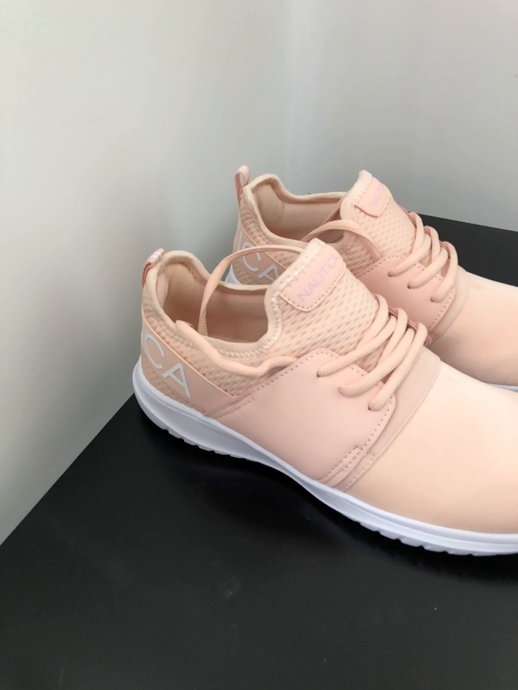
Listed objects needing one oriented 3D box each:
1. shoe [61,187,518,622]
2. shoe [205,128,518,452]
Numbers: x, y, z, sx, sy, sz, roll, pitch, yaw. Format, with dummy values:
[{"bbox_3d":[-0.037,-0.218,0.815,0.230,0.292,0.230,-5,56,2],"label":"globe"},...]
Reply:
[{"bbox_3d":[0.046,0.014,0.284,0.250,0.110,0.100,16,42,19],"label":"shoe"},{"bbox_3d":[0.100,-0.045,0.349,0.240,0.110,0.100,16,42,19],"label":"shoe"}]
